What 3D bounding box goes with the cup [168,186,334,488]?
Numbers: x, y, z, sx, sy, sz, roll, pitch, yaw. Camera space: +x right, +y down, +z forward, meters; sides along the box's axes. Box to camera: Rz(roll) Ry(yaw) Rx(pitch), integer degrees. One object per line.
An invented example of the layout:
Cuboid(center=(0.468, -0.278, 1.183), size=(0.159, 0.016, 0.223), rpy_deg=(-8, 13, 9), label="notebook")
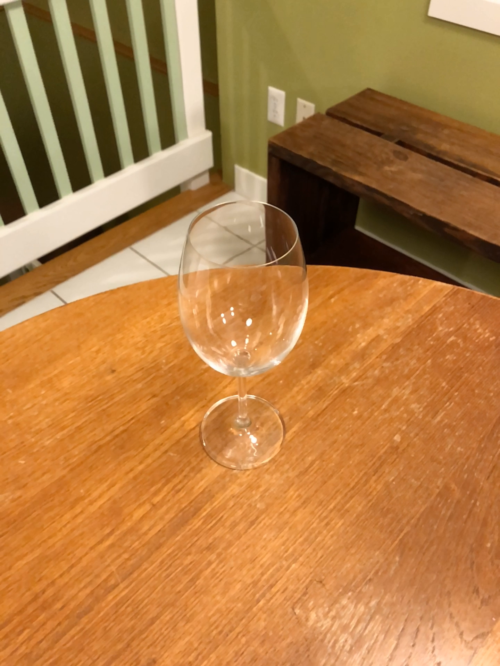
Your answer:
Cuboid(center=(-0.004, 0.017, 0.450), size=(0.097, 0.240, 0.101), rpy_deg=(0, 47, 0), label="cup")
